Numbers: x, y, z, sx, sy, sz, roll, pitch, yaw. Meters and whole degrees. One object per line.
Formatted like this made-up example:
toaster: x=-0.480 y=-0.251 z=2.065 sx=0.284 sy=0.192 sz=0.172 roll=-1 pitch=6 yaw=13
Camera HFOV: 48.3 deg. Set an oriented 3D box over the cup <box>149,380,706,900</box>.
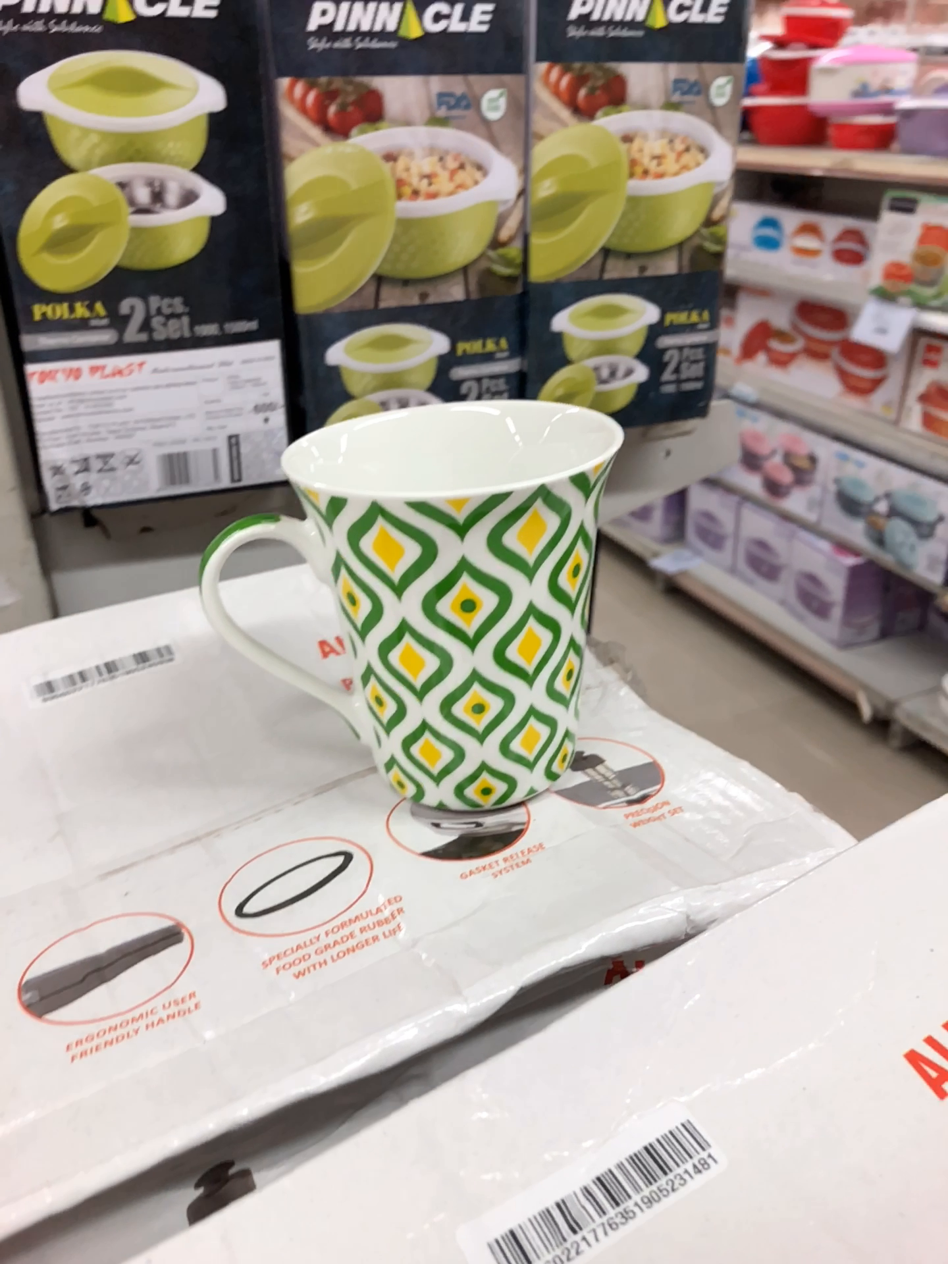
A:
cup: x=-0.013 y=-0.009 z=0.280 sx=0.110 sy=0.090 sz=0.090 roll=-15 pitch=26 yaw=-26
